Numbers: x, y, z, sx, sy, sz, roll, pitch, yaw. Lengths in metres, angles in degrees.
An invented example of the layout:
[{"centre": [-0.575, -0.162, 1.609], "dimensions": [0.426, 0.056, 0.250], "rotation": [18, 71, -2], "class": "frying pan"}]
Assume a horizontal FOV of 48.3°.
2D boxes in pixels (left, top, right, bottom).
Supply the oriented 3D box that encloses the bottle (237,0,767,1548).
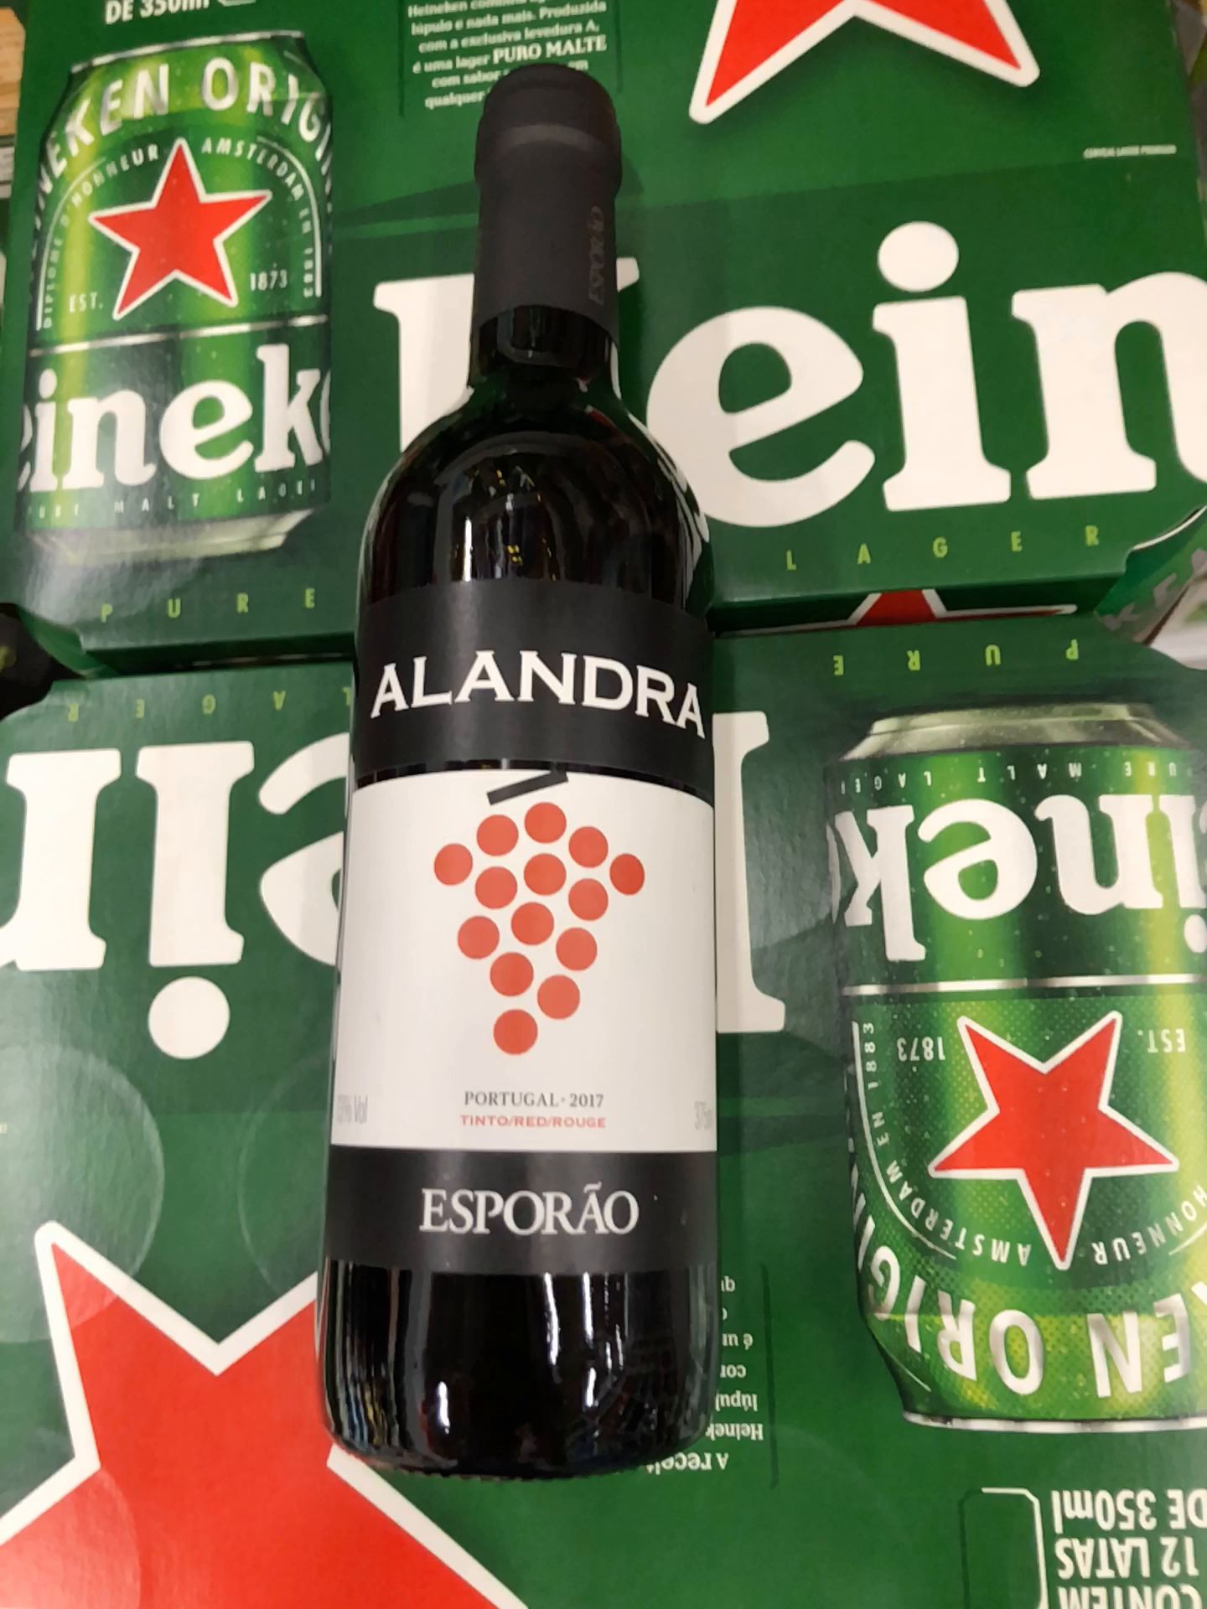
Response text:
[{"centre": [-0.013, -0.026, 0.210], "dimensions": [0.060, 0.060, 0.240], "rotation": [2, 77, -5], "class": "bottle"}]
